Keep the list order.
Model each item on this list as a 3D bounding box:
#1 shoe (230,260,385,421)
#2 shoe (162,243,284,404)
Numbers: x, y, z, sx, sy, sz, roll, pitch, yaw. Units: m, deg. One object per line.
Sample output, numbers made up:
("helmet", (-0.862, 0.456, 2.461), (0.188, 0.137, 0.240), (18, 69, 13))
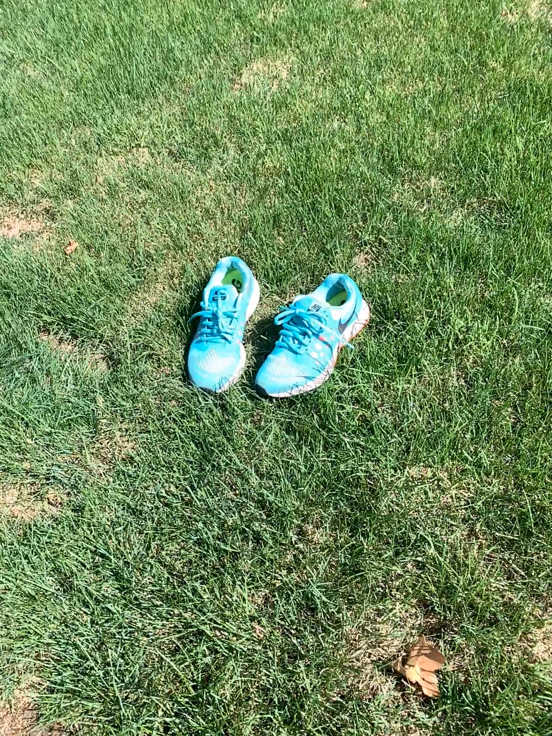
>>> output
("shoe", (0.056, -0.051, 0.908), (0.120, 0.070, 0.250), (28, 63, 26))
("shoe", (-0.080, -0.082, 0.964), (0.120, 0.090, 0.261), (10, 57, 13))
